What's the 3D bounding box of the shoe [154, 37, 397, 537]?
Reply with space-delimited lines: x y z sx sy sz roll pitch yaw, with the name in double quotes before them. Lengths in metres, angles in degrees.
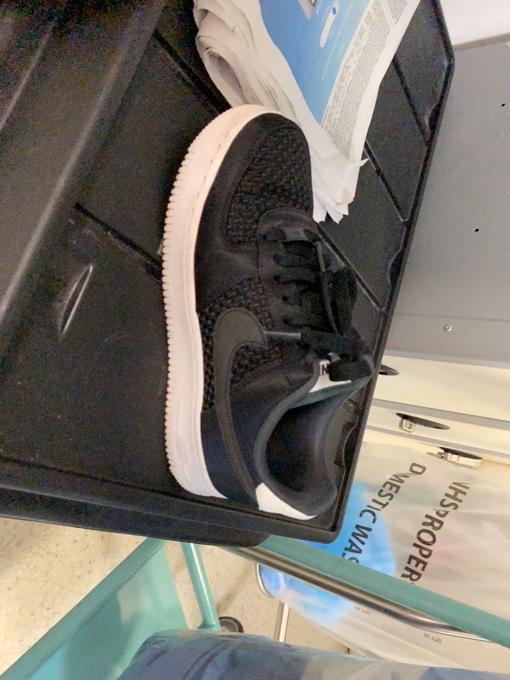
"shoe" 0.011 -0.026 0.299 0.090 0.094 0.224 -5 100 -54
